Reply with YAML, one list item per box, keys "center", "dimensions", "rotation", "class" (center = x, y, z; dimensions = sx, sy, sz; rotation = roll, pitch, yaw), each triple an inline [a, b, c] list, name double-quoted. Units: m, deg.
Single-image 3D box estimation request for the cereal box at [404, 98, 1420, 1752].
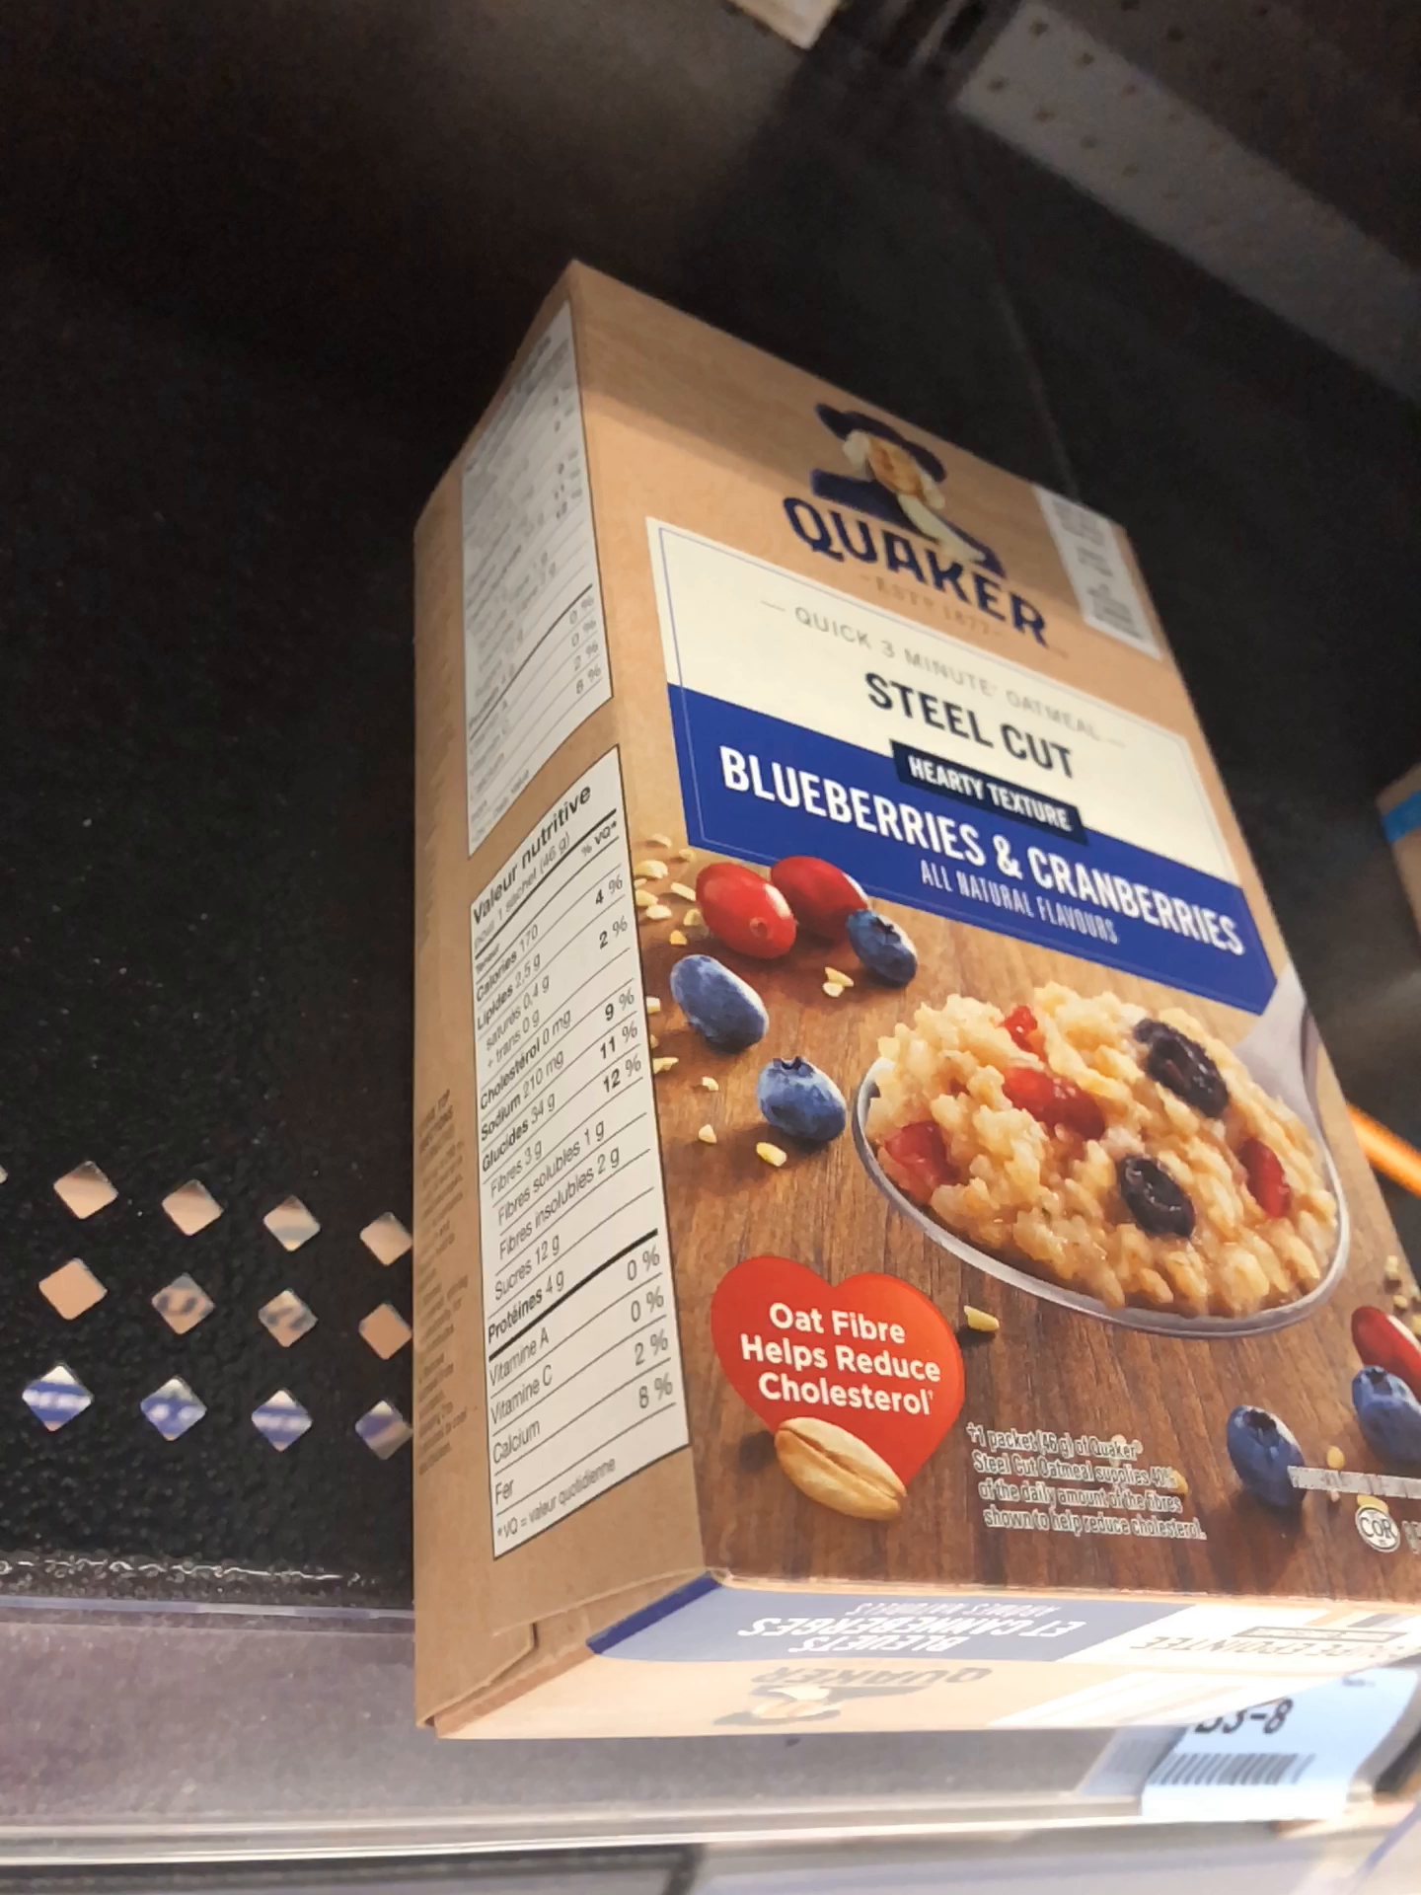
- center: [0.025, -0.014, 0.252]
  dimensions: [0.130, 0.060, 0.240]
  rotation: [15, 49, -29]
  class: "cereal box"
